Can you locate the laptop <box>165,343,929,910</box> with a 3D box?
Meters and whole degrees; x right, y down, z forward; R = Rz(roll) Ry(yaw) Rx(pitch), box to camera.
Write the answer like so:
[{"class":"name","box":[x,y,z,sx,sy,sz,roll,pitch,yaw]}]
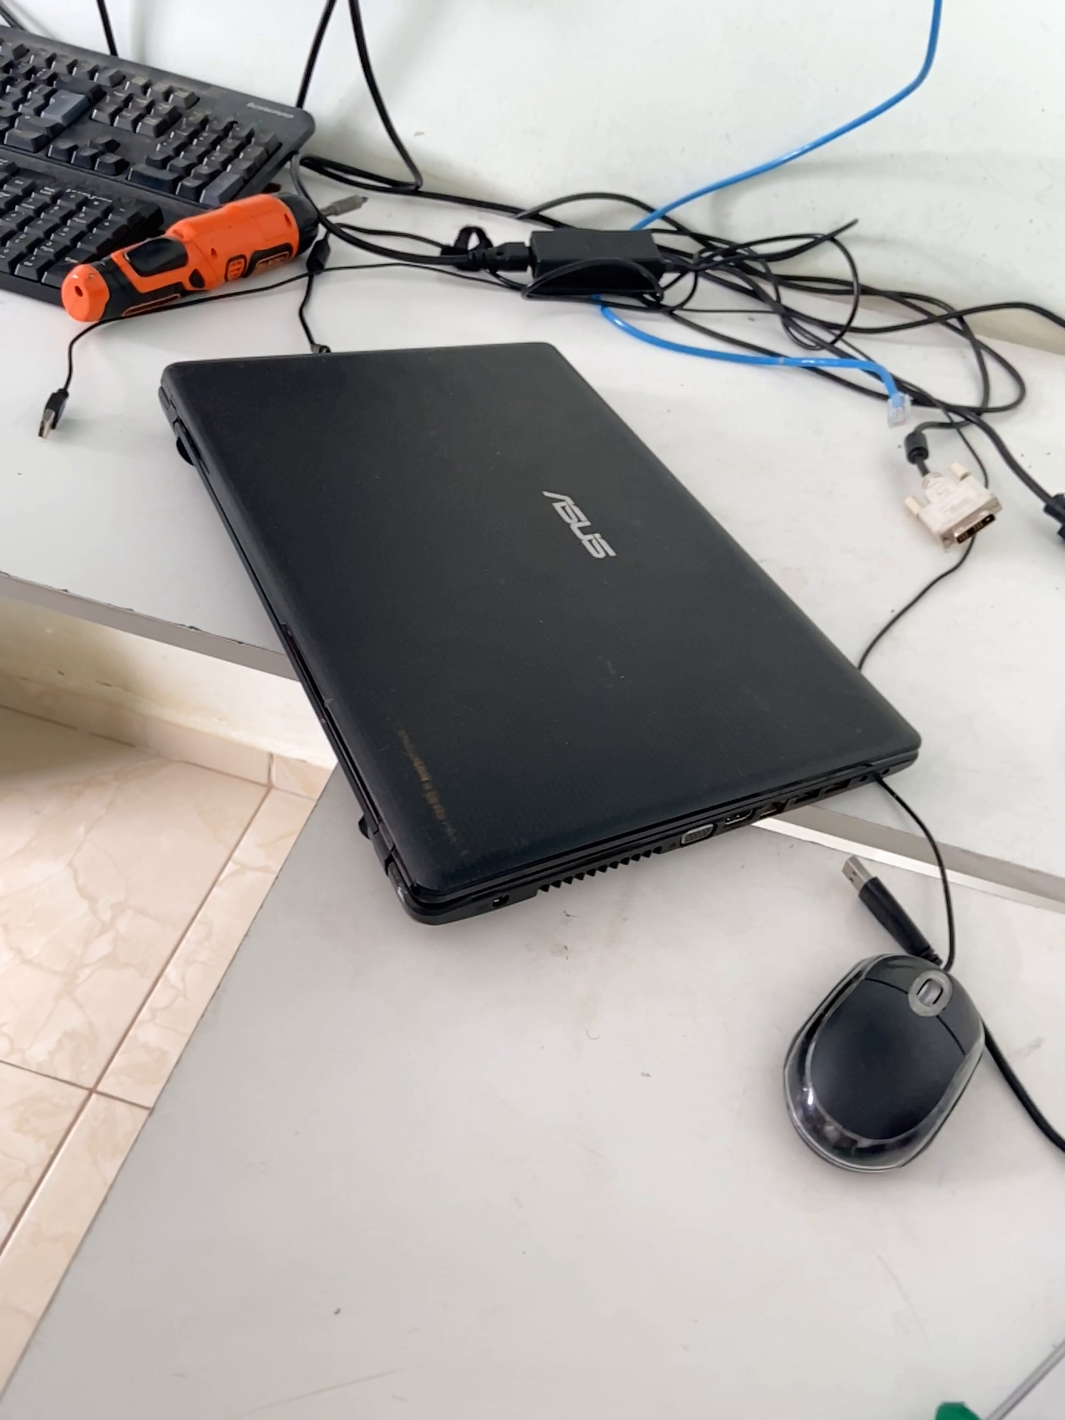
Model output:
[{"class":"laptop","box":[-0.013,-0.086,0.562,0.253,0.010,0.382,-13,49,-26]}]
